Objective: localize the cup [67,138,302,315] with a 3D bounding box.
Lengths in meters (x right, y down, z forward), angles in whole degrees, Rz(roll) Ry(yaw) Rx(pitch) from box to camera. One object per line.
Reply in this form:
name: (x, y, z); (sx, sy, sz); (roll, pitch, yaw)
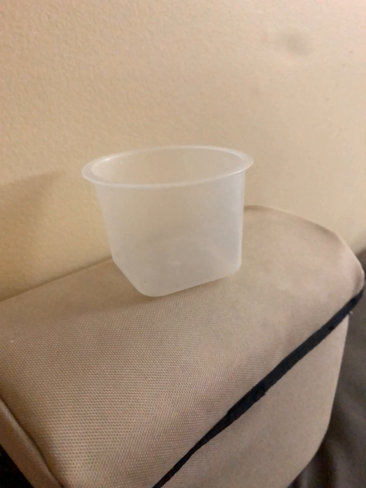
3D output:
cup: (-0.002, -0.016, 0.201); (0.080, 0.046, 0.076); (-1, 26, 0)
